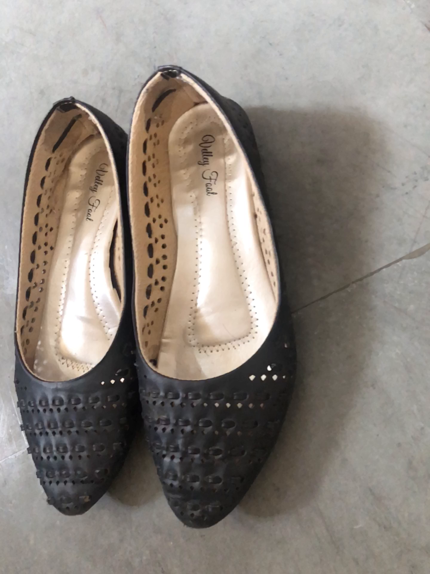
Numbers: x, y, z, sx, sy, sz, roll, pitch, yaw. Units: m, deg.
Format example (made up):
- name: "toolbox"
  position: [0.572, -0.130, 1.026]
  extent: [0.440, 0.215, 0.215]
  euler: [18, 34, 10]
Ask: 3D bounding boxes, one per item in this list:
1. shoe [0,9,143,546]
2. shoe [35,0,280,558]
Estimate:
- name: "shoe"
  position: [-0.107, -0.007, 0.288]
  extent: [0.100, 0.070, 0.270]
  euler: [-6, 81, 22]
- name: "shoe"
  position: [-0.026, -0.018, 0.270]
  extent: [0.100, 0.070, 0.280]
  euler: [-6, 76, 22]
